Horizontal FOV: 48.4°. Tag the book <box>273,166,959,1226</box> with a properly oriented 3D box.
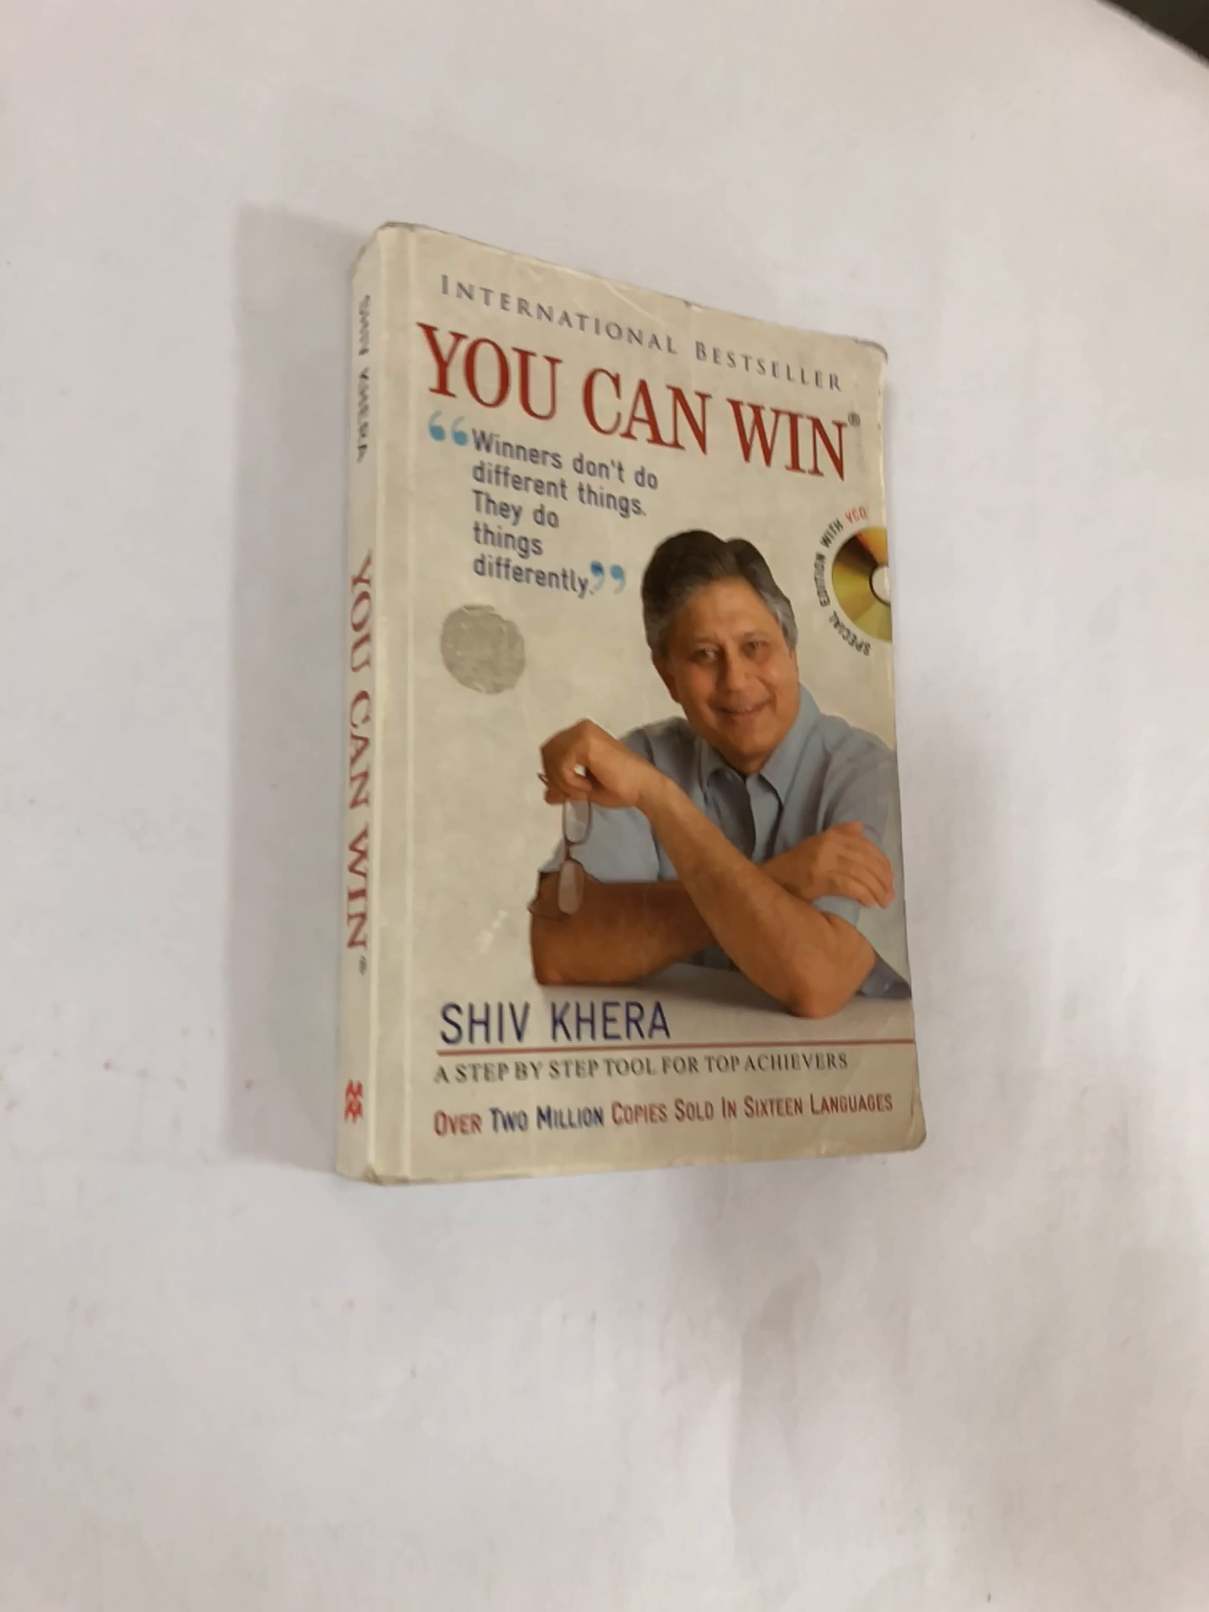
[{"bbox_3d":[0.004,-0.021,0.312,0.151,0.040,0.210,3,79,-29],"label":"book"}]
